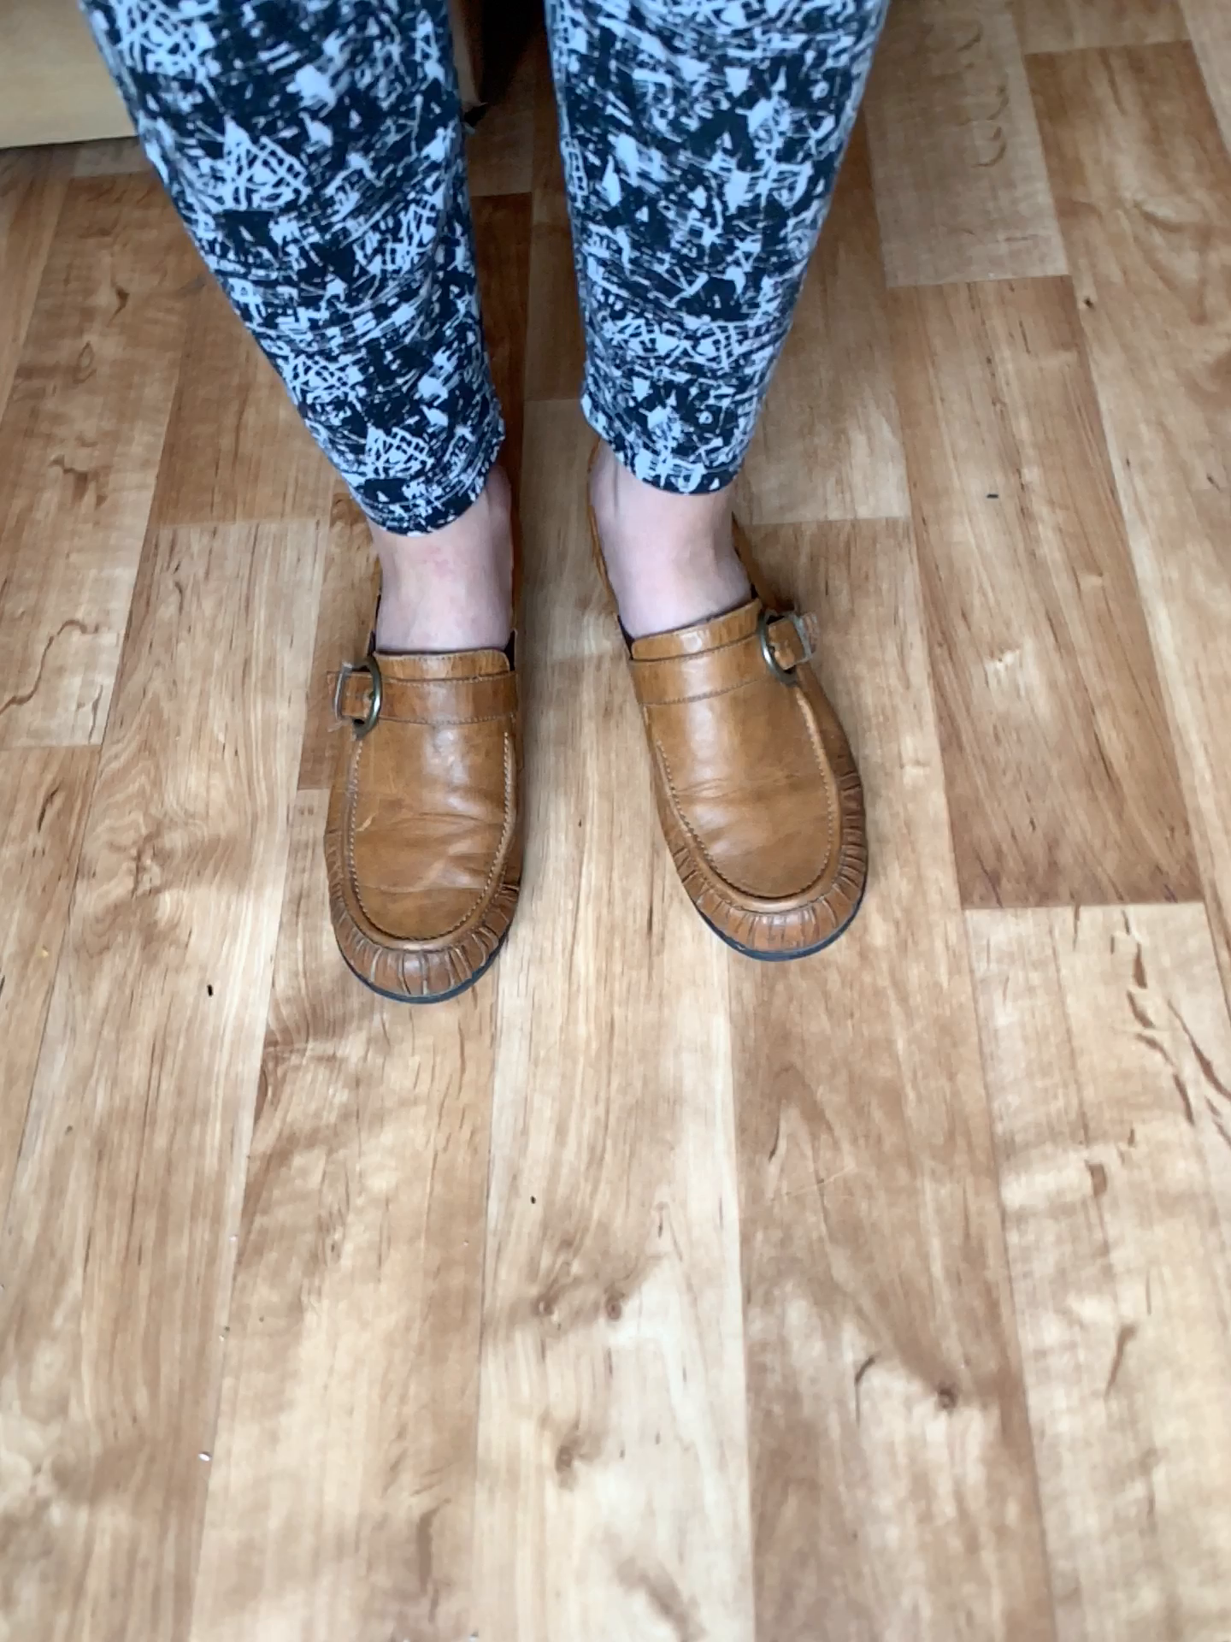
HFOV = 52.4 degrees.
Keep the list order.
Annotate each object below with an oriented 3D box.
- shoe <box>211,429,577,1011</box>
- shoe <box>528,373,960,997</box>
[{"bbox_3d":[-0.067,-0.039,0.434,0.080,0.070,0.190,2,64,7],"label":"shoe"},{"bbox_3d":[0.036,-0.050,0.426,0.080,0.070,0.190,-16,63,-2],"label":"shoe"}]
